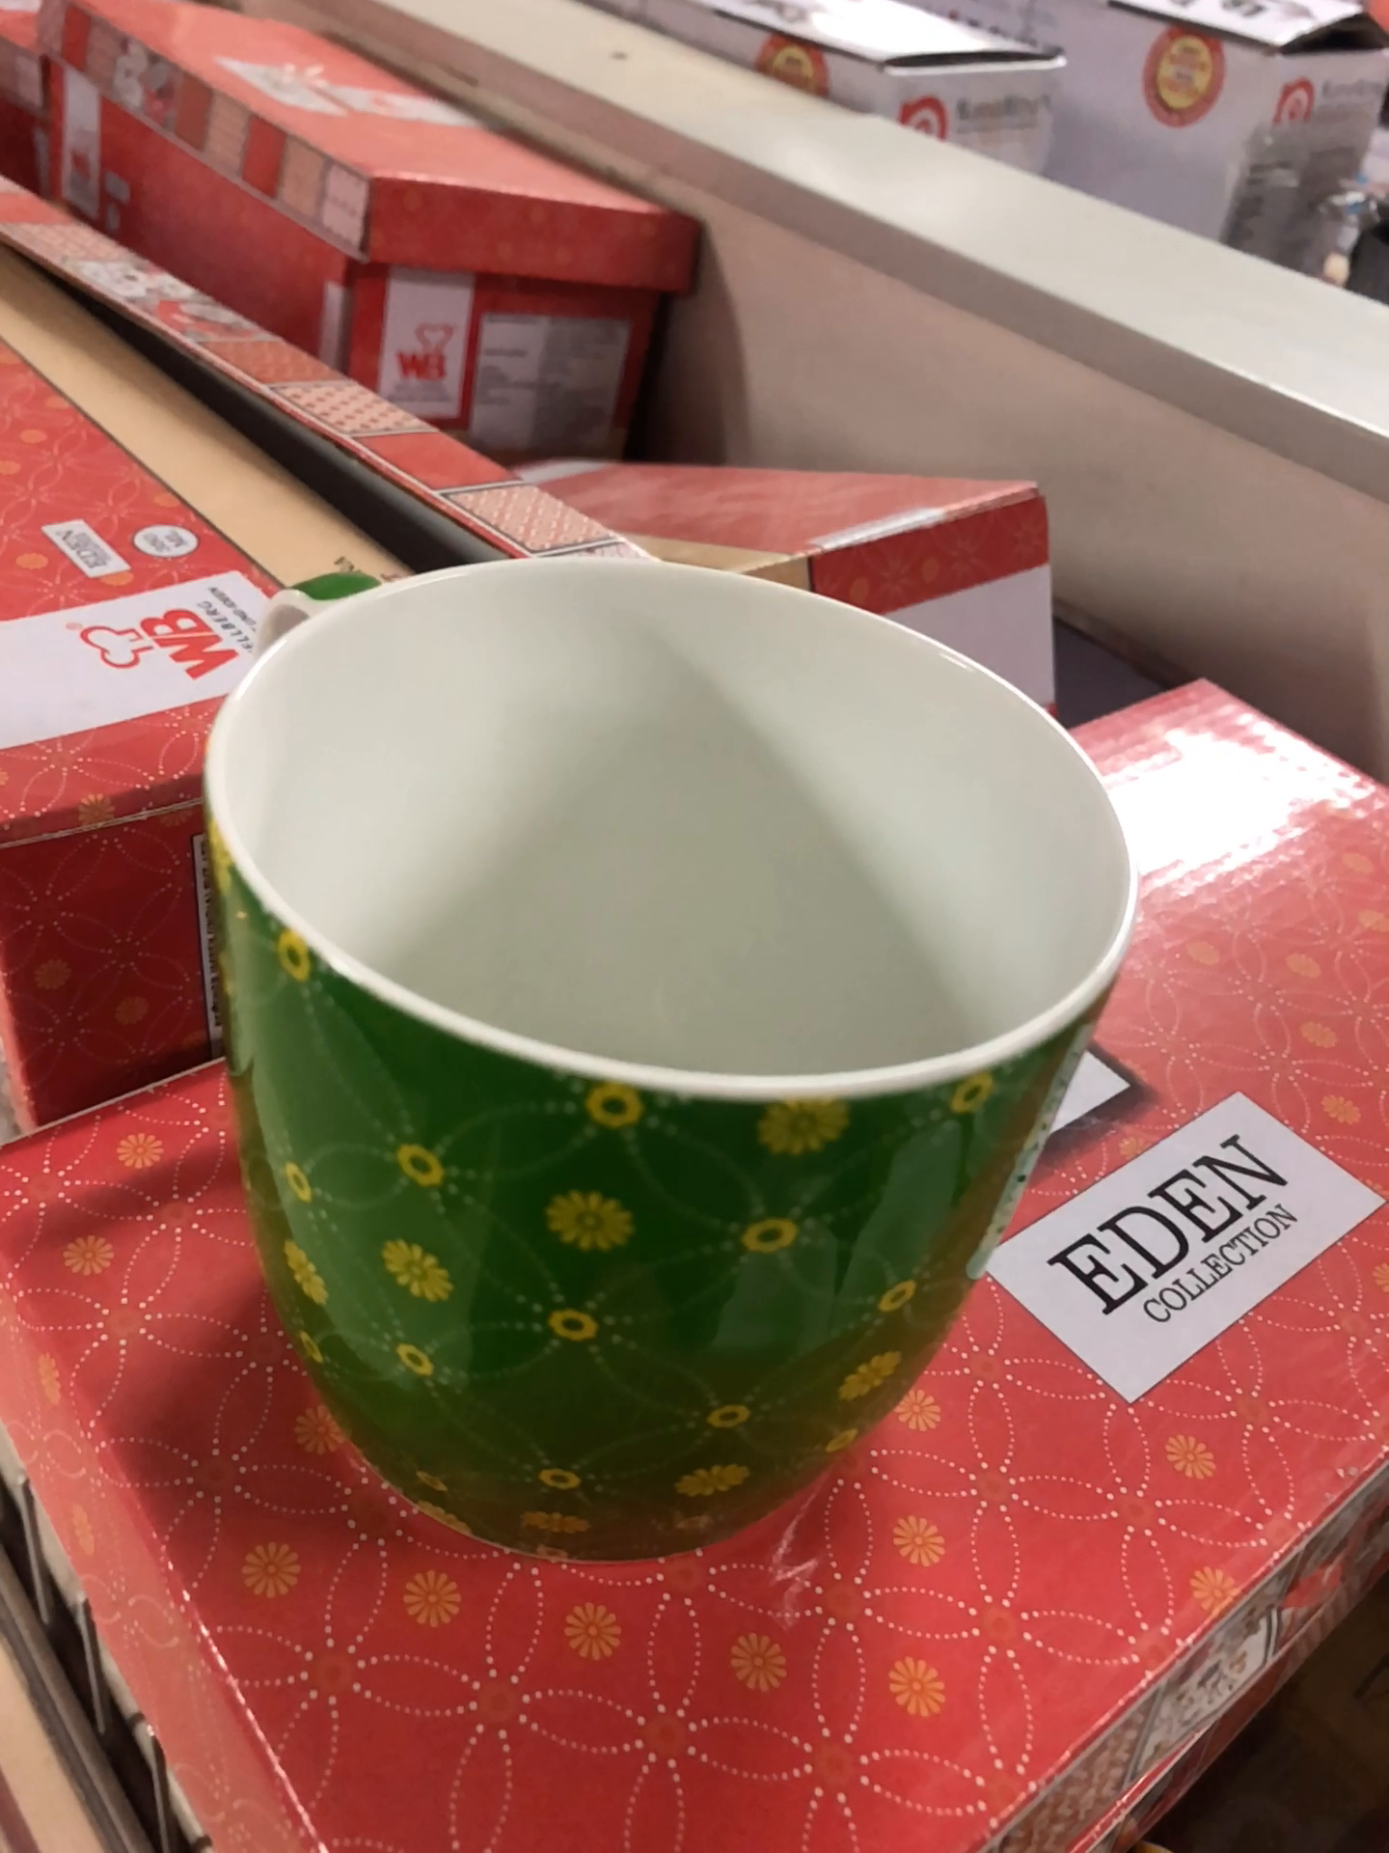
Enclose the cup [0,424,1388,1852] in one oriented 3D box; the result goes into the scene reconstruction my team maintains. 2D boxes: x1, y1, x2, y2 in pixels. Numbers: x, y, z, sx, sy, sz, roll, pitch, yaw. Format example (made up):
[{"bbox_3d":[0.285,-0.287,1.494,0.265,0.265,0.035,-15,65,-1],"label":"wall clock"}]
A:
[{"bbox_3d":[-0.012,0.011,0.174,0.090,0.079,0.120,-21,47,-33],"label":"cup"}]
